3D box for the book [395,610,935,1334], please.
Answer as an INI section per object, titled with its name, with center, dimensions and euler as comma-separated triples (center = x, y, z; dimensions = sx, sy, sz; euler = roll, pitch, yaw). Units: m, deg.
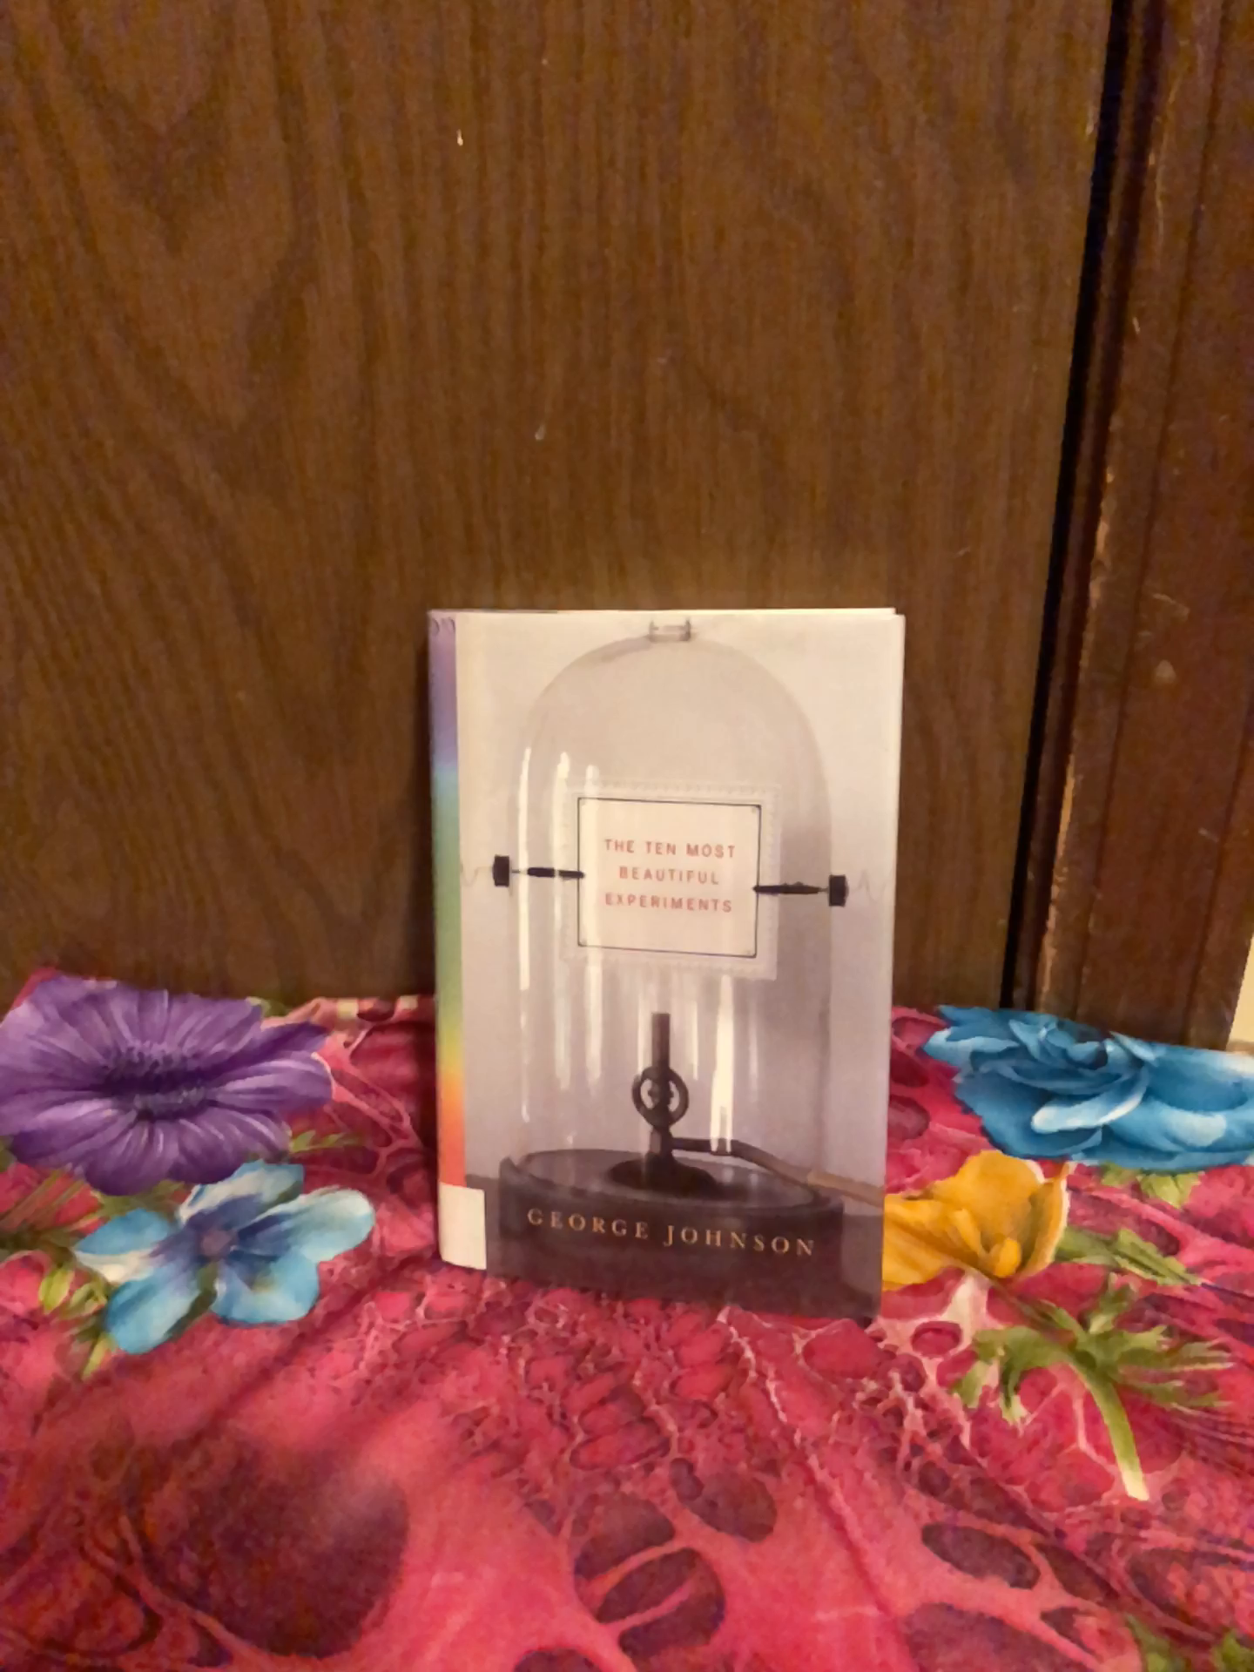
[book]
center = 0.009, 0.034, 0.387
dimensions = 0.140, 0.190, 0.033
euler = 3, 9, 11
